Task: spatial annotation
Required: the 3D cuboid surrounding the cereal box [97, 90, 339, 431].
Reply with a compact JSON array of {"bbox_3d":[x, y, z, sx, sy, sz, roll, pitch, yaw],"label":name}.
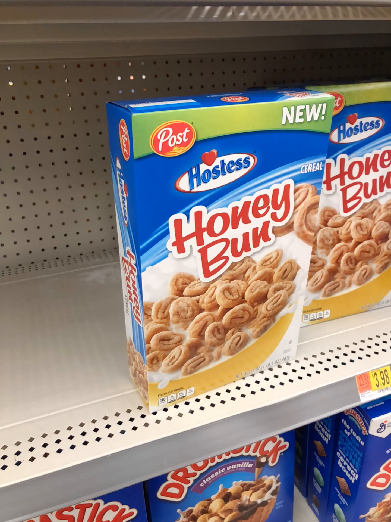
[{"bbox_3d":[0.024,0.002,0.436,0.200,0.309,0.060,-14,30,-24],"label":"cereal box"}]
